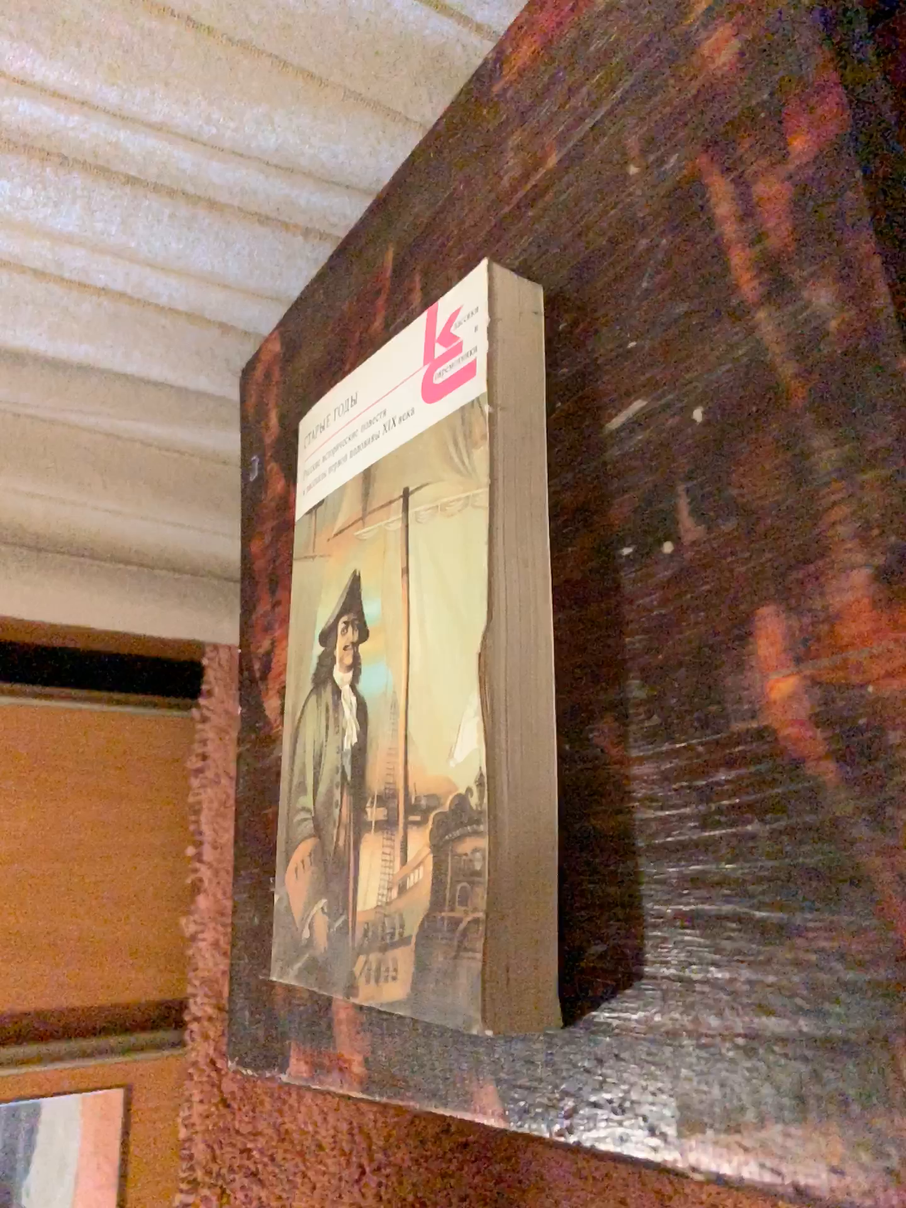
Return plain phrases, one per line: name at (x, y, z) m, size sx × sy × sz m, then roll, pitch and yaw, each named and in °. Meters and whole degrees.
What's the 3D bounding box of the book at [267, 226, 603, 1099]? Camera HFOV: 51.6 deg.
book at (-0.011, 0.015, 0.267) m, size 0.124 × 0.026 × 0.197 m, roll -18°, pitch 67°, yaw 55°
